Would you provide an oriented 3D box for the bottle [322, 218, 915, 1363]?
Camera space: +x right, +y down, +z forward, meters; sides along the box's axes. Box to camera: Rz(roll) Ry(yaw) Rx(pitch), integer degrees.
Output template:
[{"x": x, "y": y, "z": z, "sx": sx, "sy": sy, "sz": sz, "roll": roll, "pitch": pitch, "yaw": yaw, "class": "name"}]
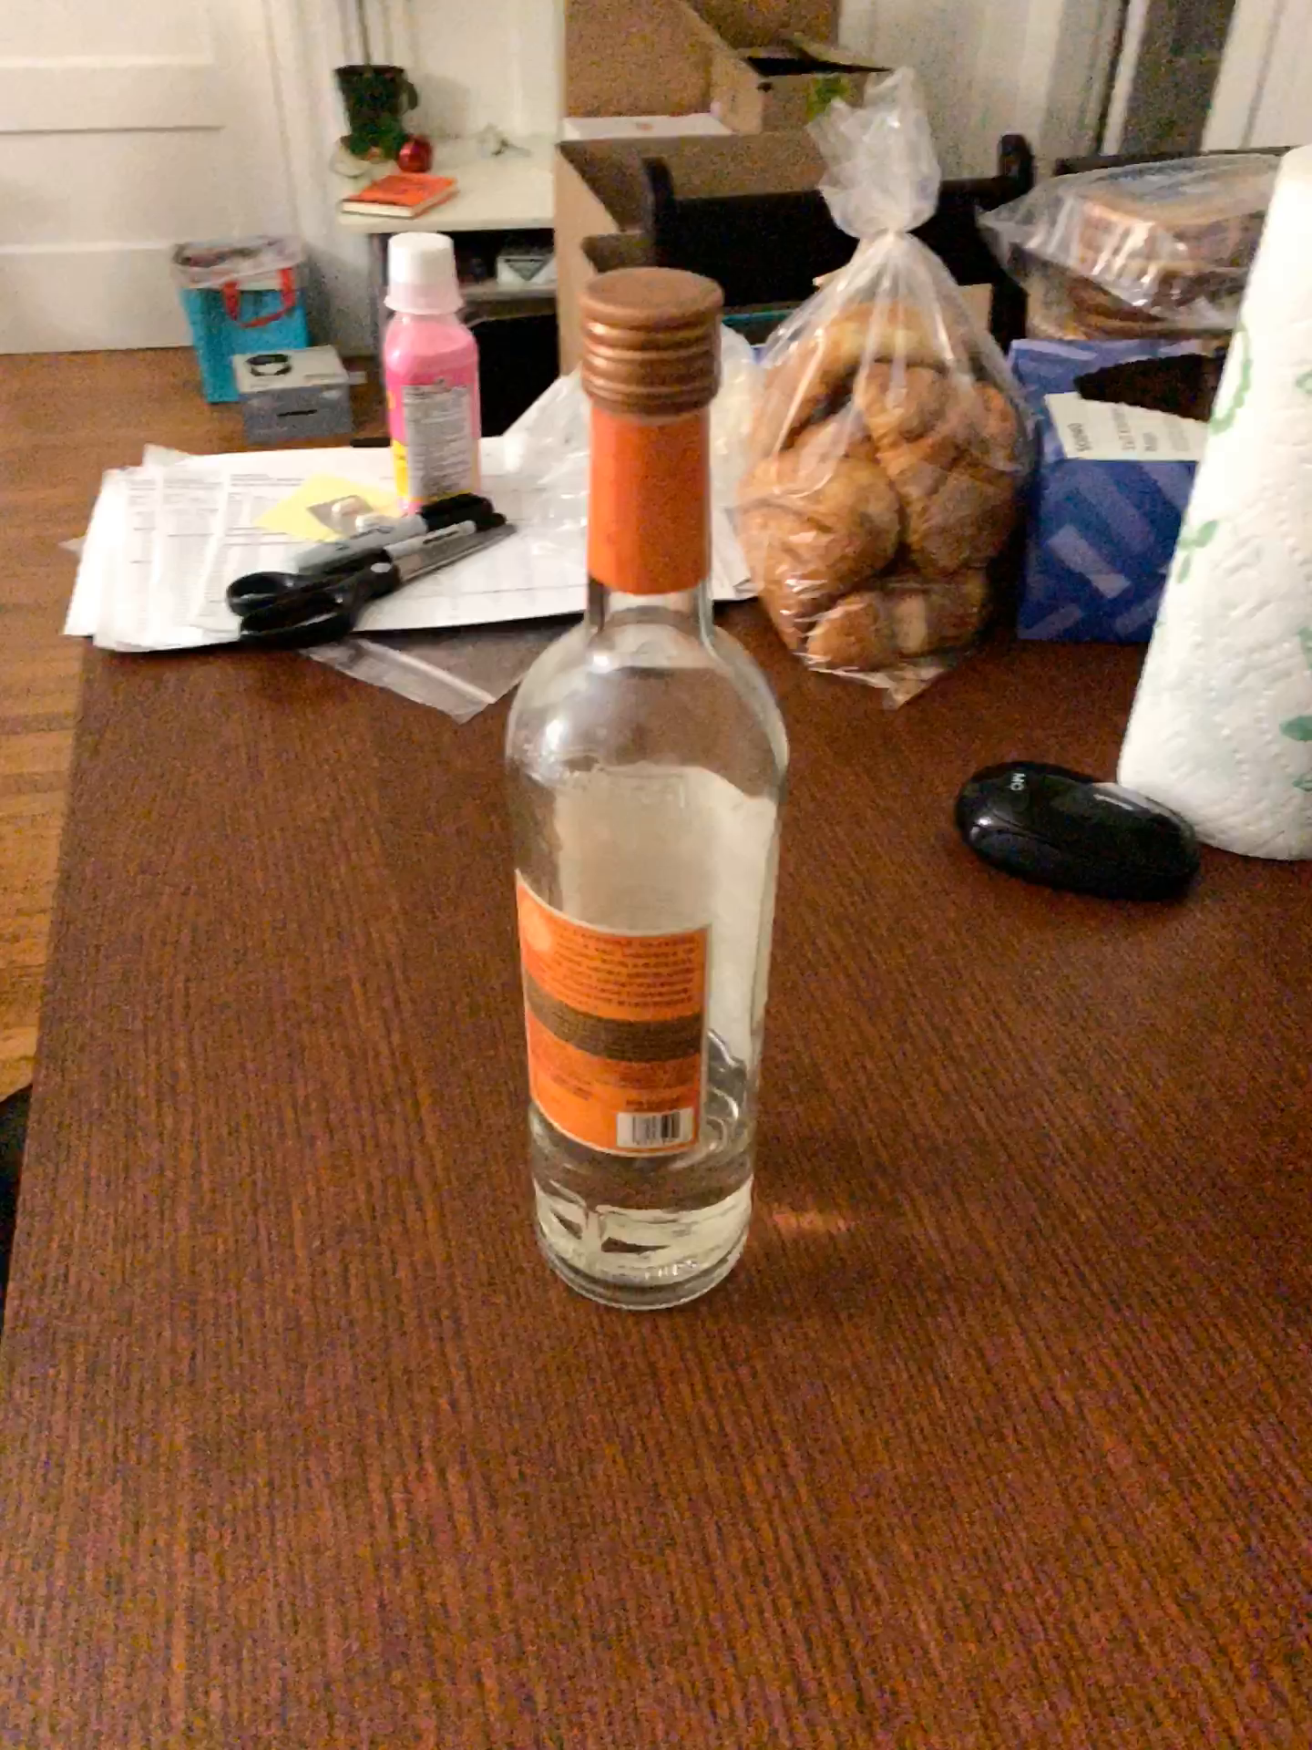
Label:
[{"x": -0.007, "y": -0.001, "z": 0.363, "sx": 0.090, "sy": 0.298, "sz": 0.080, "roll": 20, "pitch": 43, "yaw": 21, "class": "bottle"}]
